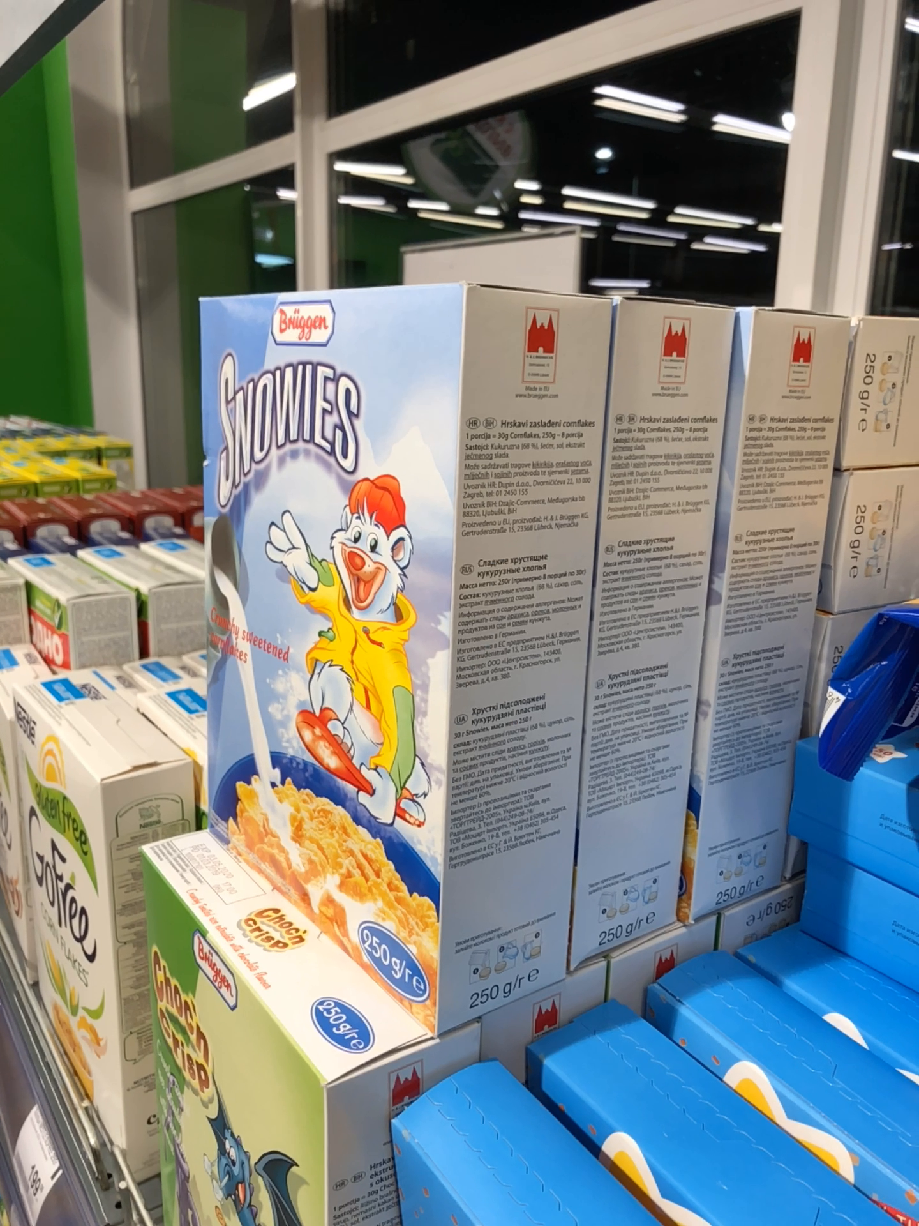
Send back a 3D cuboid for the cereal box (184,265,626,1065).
[{"bbox_3d":[-0.038,0.003,0.416,0.070,0.259,0.200,-7,16,-36],"label":"cereal box"}]
